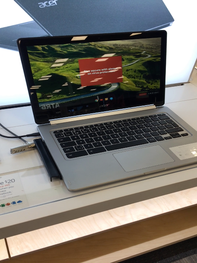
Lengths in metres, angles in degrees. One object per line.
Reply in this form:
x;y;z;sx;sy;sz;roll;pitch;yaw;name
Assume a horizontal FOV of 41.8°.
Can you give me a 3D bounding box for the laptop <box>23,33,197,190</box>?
0.061;-0.066;0.556;0.349;0.190;0.281;-12;45;-18;laptop
